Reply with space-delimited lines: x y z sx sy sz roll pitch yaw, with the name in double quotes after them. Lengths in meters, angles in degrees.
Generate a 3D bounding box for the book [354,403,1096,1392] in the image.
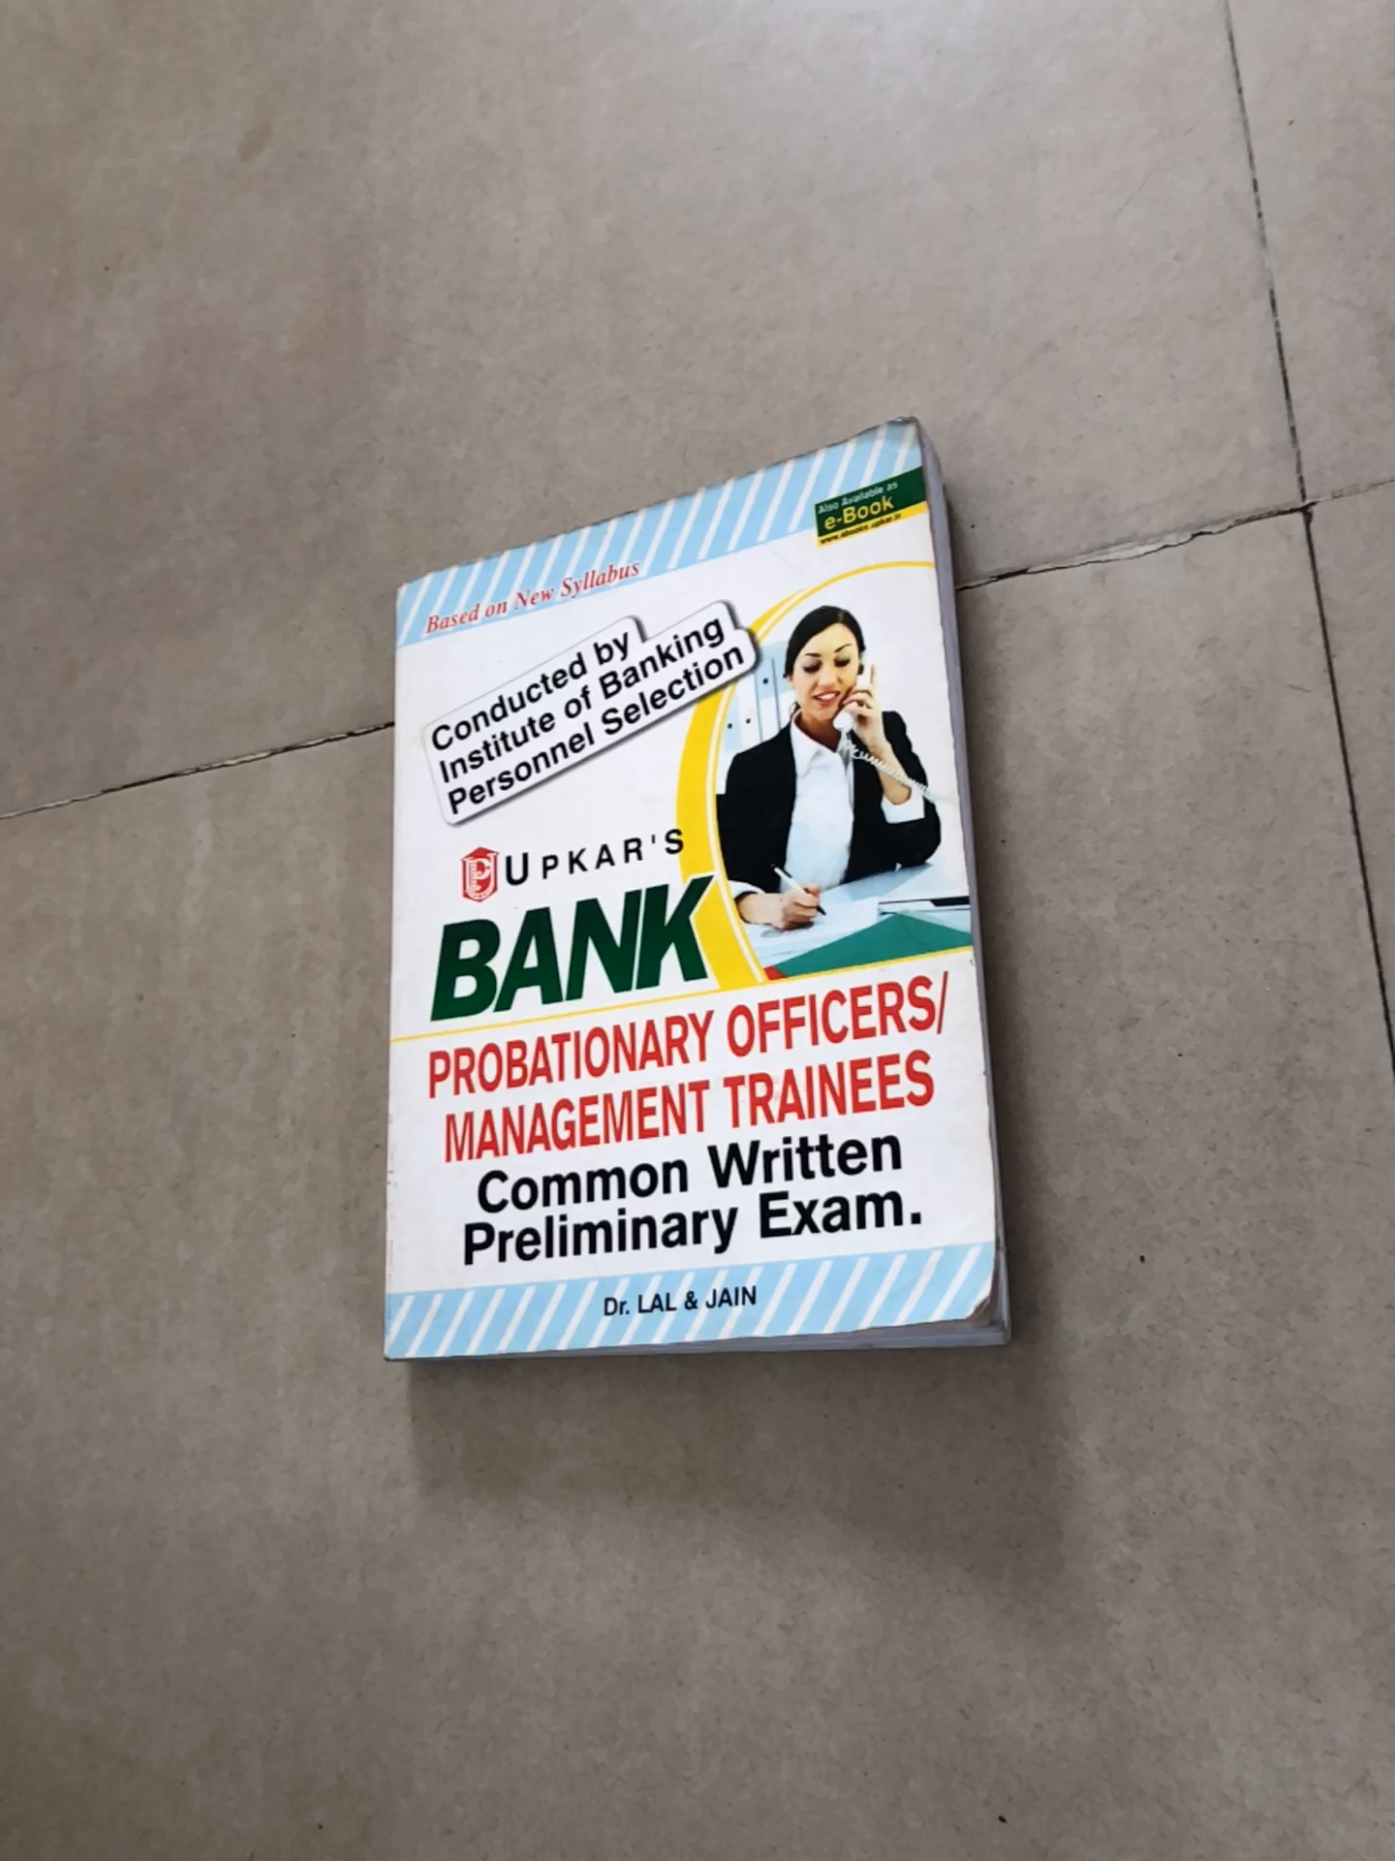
-0.002 -0.001 0.405 0.180 0.040 0.230 -8 75 24 "book"
